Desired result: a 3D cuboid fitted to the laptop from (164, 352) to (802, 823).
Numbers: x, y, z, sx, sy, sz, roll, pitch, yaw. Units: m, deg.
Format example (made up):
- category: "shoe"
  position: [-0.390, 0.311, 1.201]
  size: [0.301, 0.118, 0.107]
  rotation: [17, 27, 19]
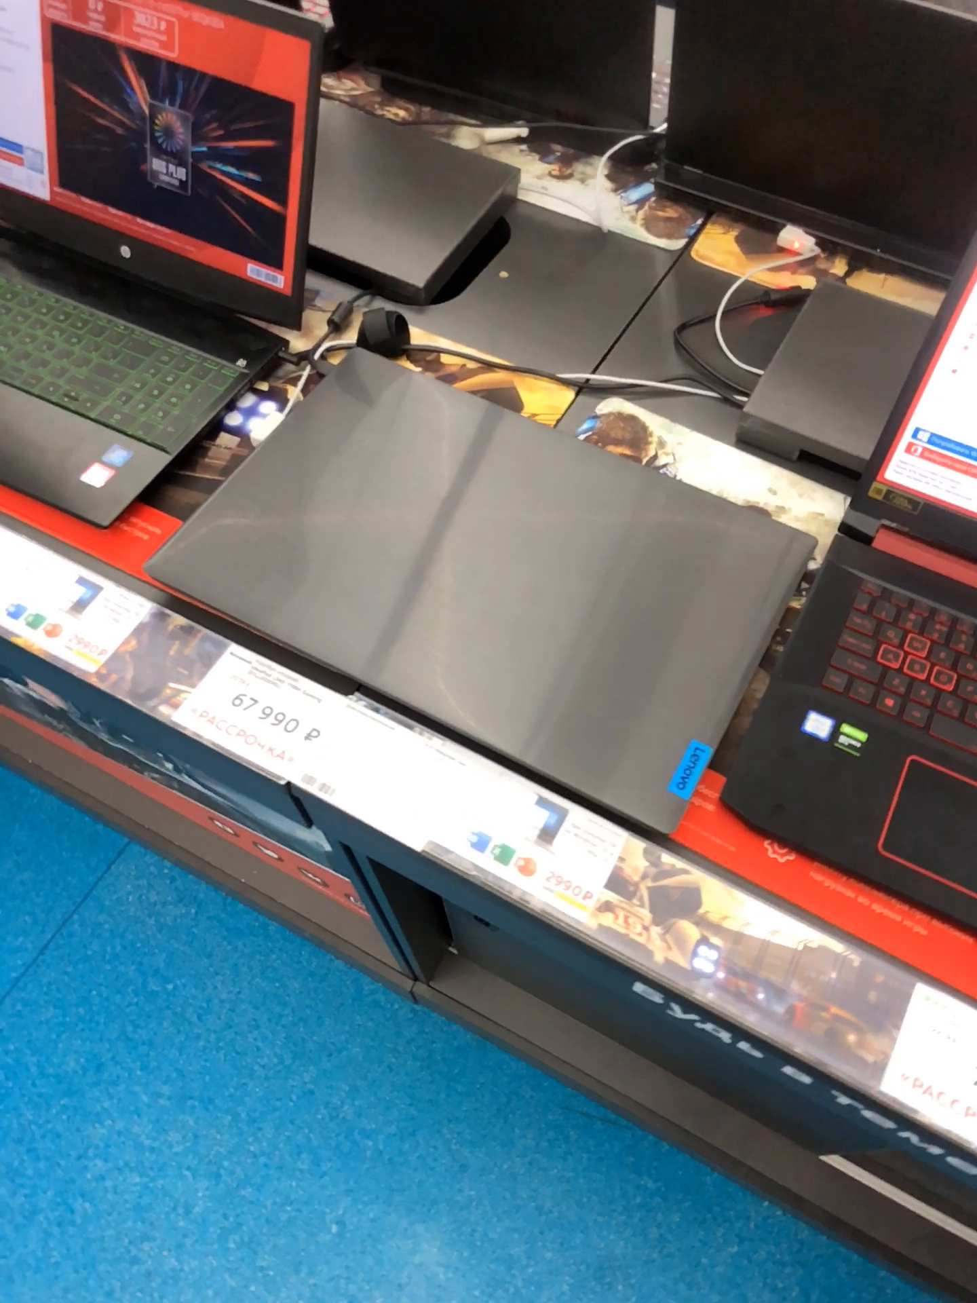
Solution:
- category: "laptop"
  position: [0.003, -0.072, 0.777]
  size: [0.389, 0.002, 0.269]
  rotation: [25, 58, 13]
